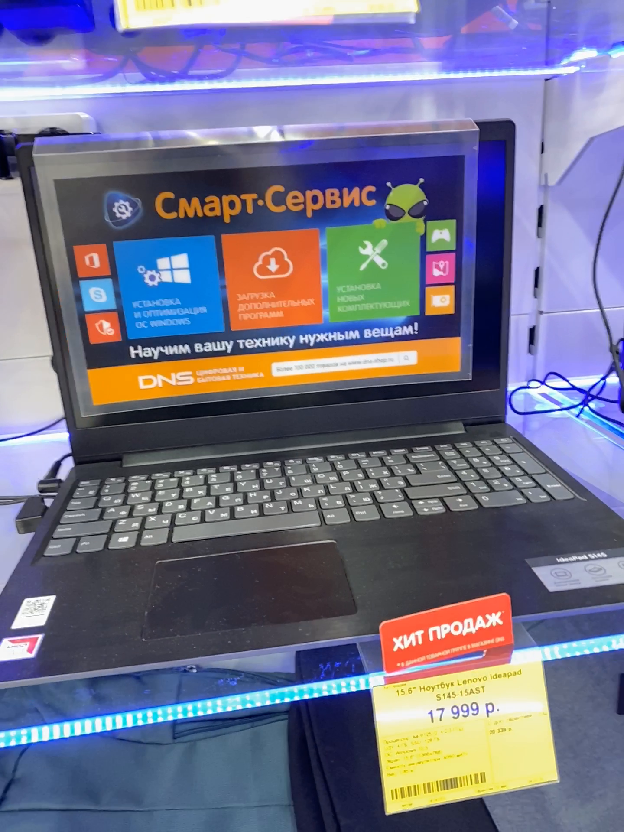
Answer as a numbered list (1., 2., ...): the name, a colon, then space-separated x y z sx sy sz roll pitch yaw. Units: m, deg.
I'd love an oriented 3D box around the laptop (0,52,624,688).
1. laptop: -0.003 -0.050 0.384 0.361 0.239 0.258 -5 19 -6
